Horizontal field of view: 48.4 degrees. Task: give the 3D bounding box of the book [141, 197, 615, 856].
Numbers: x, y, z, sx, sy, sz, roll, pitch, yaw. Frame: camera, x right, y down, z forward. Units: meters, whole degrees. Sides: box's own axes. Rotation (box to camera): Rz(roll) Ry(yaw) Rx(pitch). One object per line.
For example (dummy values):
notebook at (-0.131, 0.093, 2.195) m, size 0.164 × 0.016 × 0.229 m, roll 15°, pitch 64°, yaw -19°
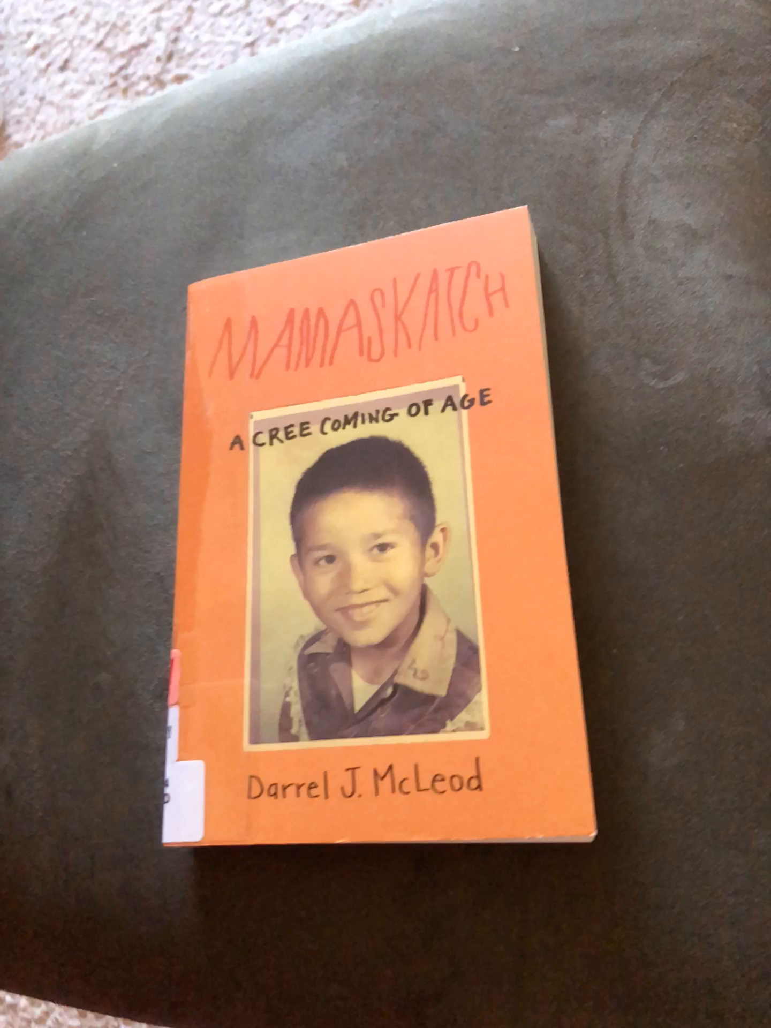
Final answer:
book at (-0.008, 0.005, 0.313) m, size 0.150 × 0.040 × 0.218 m, roll -8°, pitch 72°, yaw 17°
